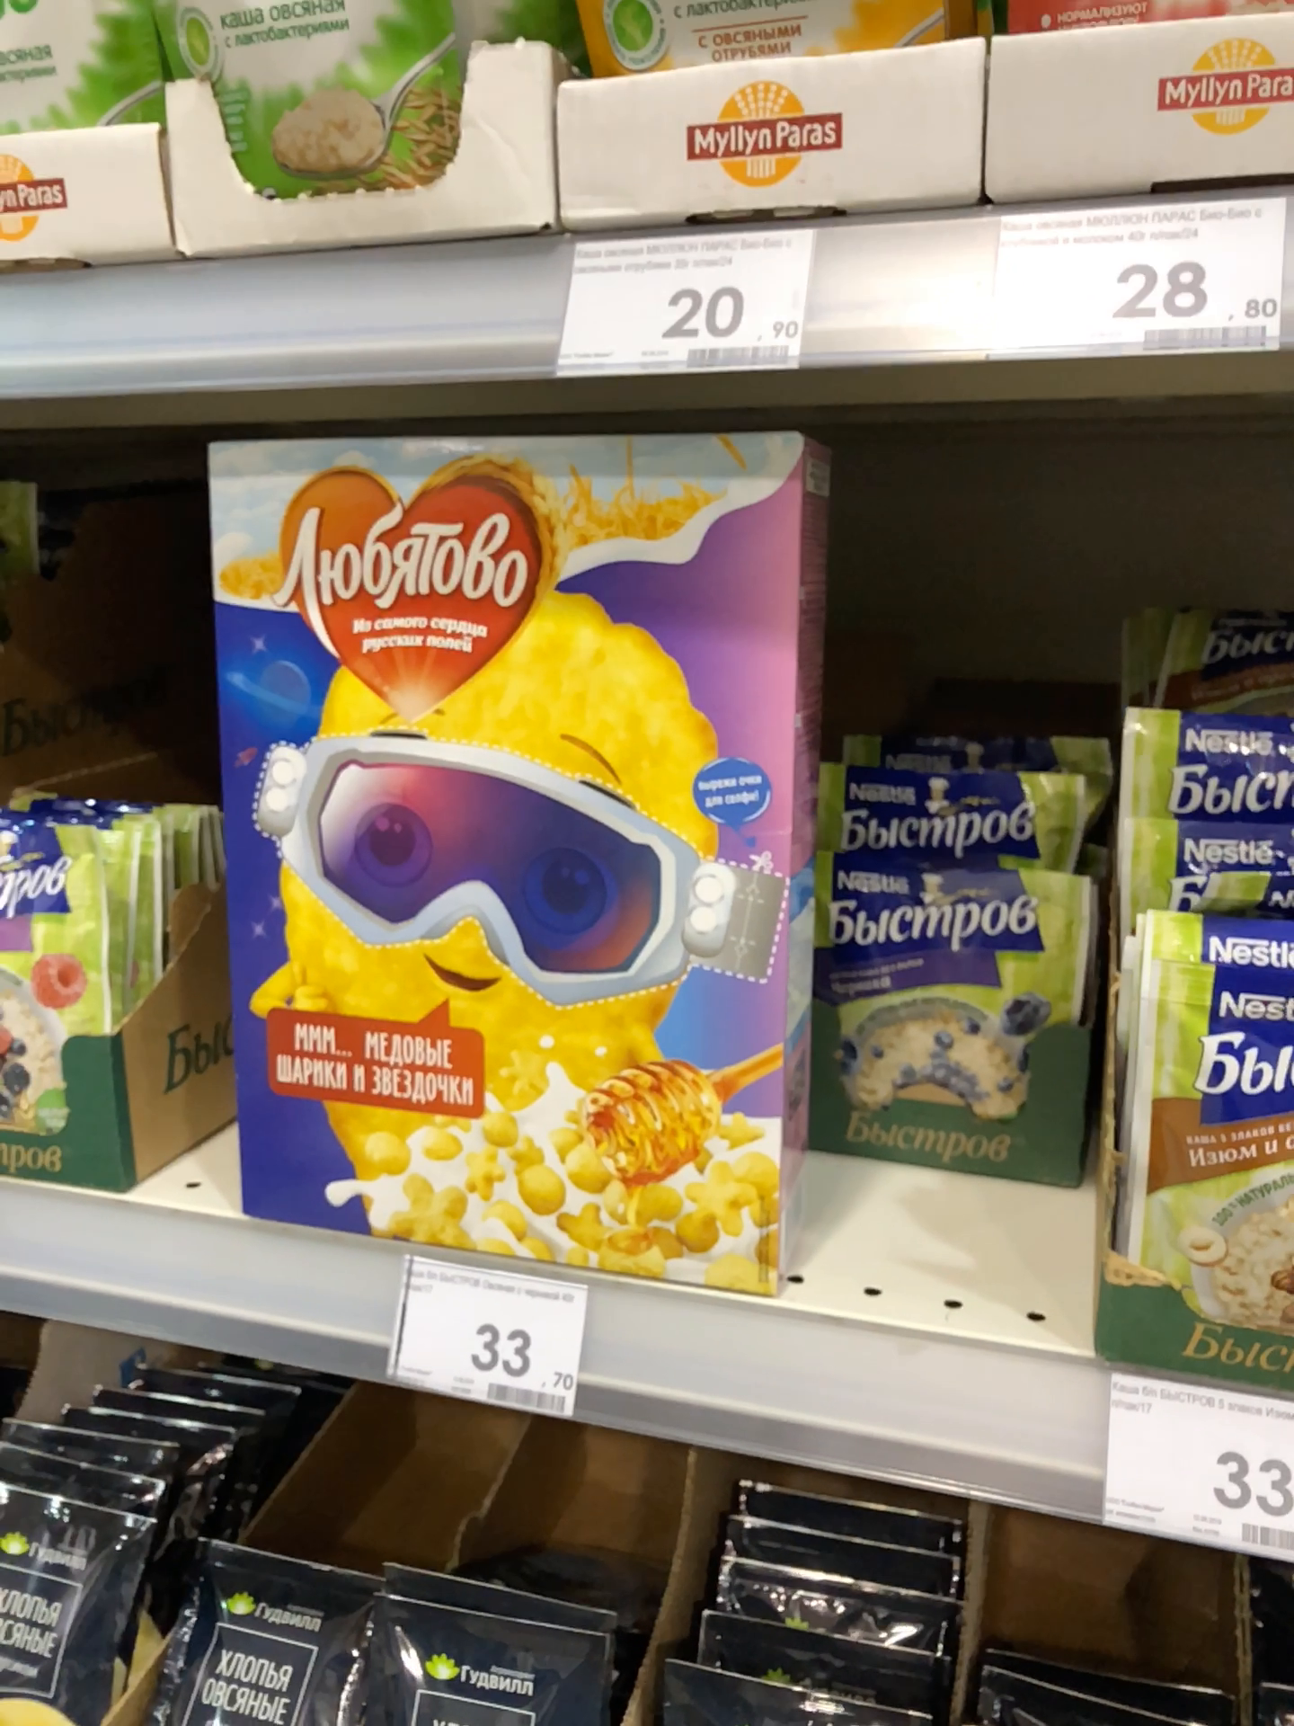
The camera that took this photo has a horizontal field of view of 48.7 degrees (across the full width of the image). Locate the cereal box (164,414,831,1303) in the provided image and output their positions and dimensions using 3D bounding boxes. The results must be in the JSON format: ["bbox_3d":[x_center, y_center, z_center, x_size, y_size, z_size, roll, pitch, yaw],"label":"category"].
[{"bbox_3d":[-0.048,-0.005,0.463,0.200,0.259,0.050,4,11,17],"label":"cereal box"}]
